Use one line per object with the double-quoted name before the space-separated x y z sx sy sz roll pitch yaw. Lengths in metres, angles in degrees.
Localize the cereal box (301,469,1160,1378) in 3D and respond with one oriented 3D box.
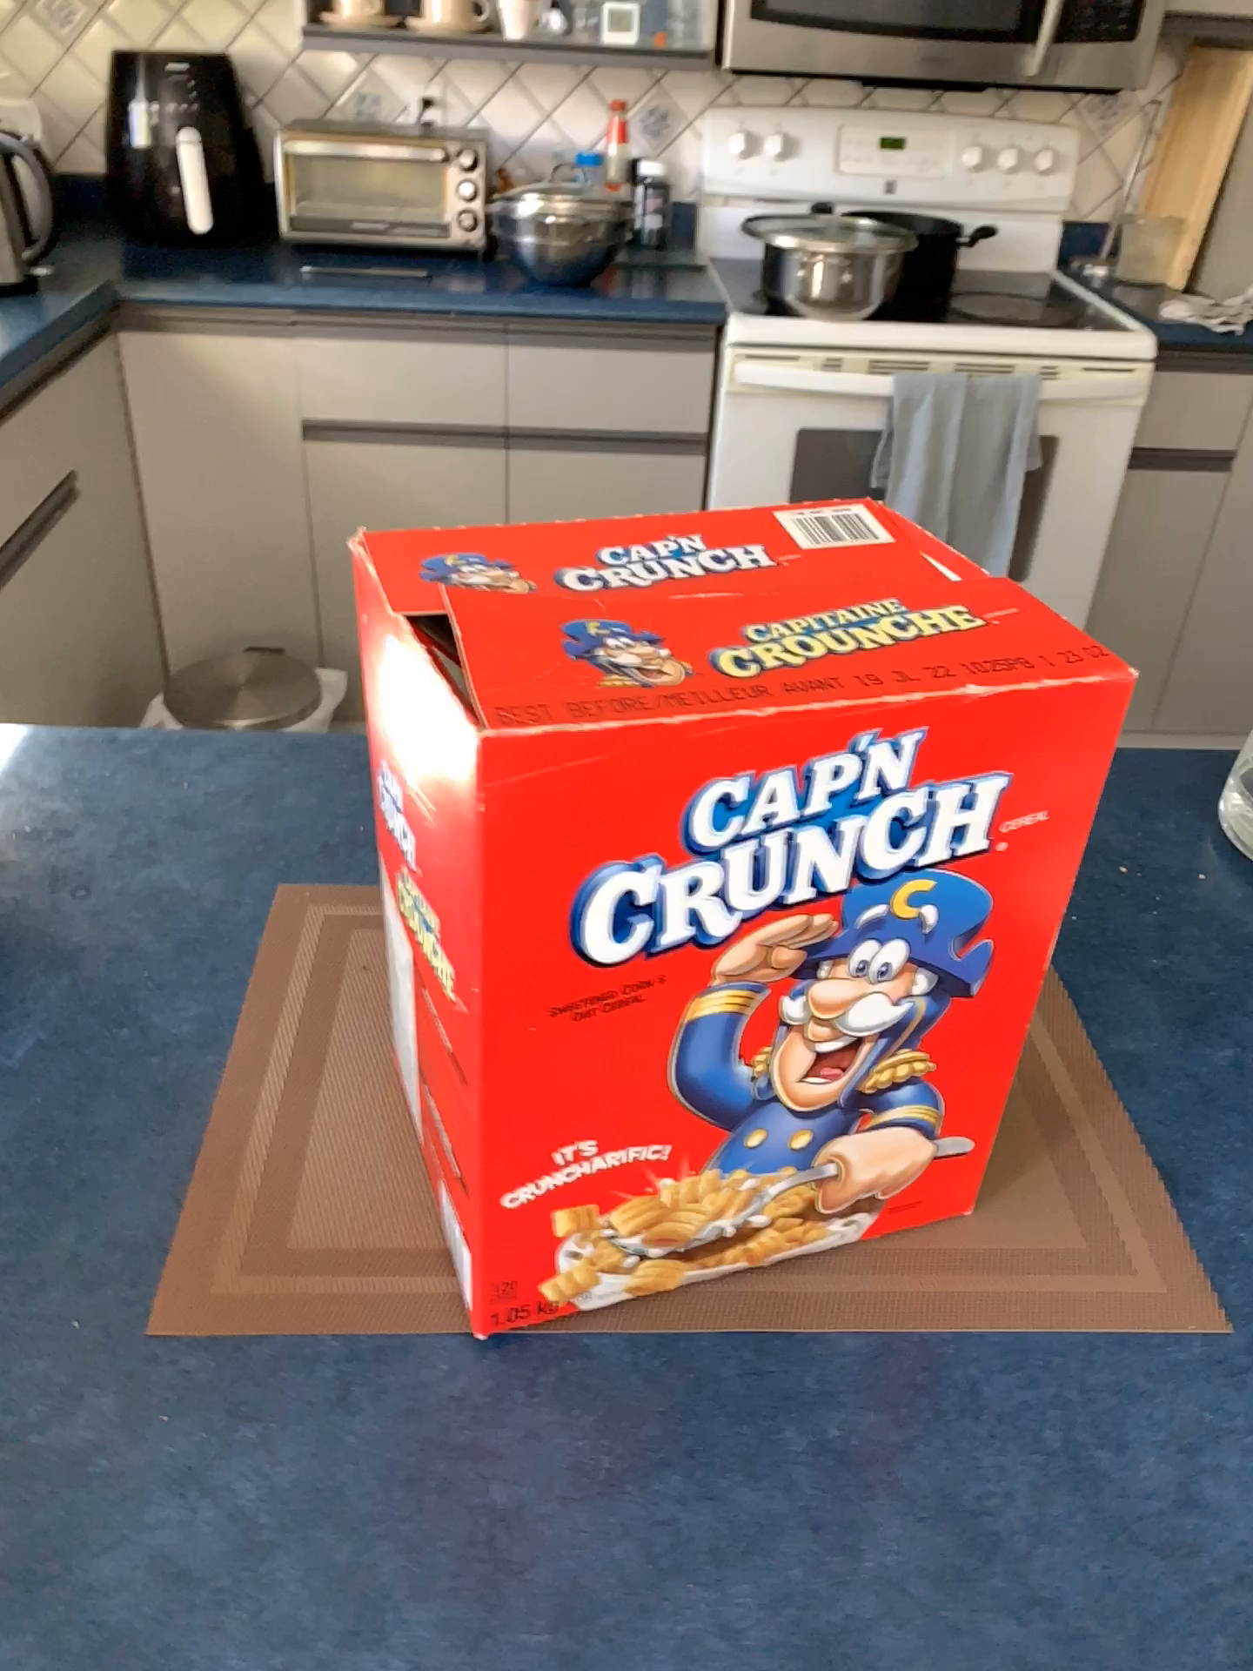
"cereal box" 0.017 0.024 0.572 0.270 0.297 0.212 -8 34 -17
